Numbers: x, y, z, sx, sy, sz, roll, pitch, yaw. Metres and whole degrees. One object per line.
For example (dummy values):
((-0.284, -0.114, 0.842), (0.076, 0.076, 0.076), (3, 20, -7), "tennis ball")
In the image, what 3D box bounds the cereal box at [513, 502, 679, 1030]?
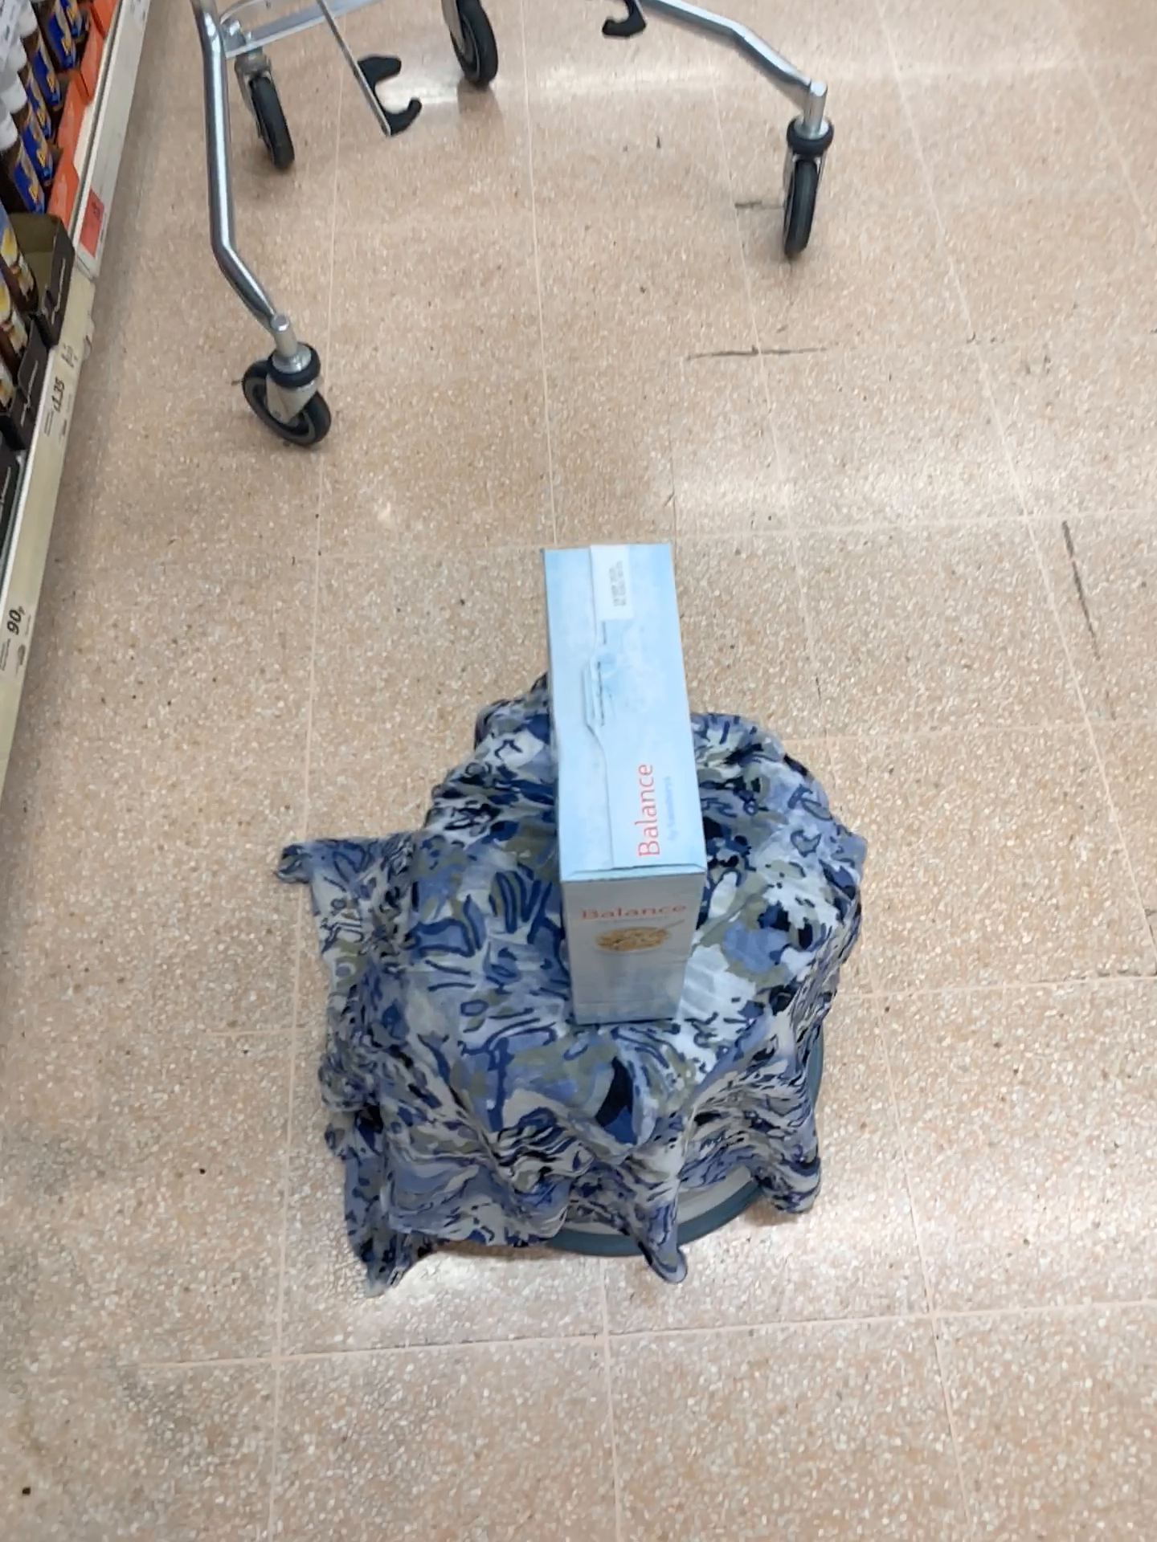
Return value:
((0.009, 0.014, 0.704), (0.070, 0.278, 0.211), (-3, 63, 0), "cereal box")
